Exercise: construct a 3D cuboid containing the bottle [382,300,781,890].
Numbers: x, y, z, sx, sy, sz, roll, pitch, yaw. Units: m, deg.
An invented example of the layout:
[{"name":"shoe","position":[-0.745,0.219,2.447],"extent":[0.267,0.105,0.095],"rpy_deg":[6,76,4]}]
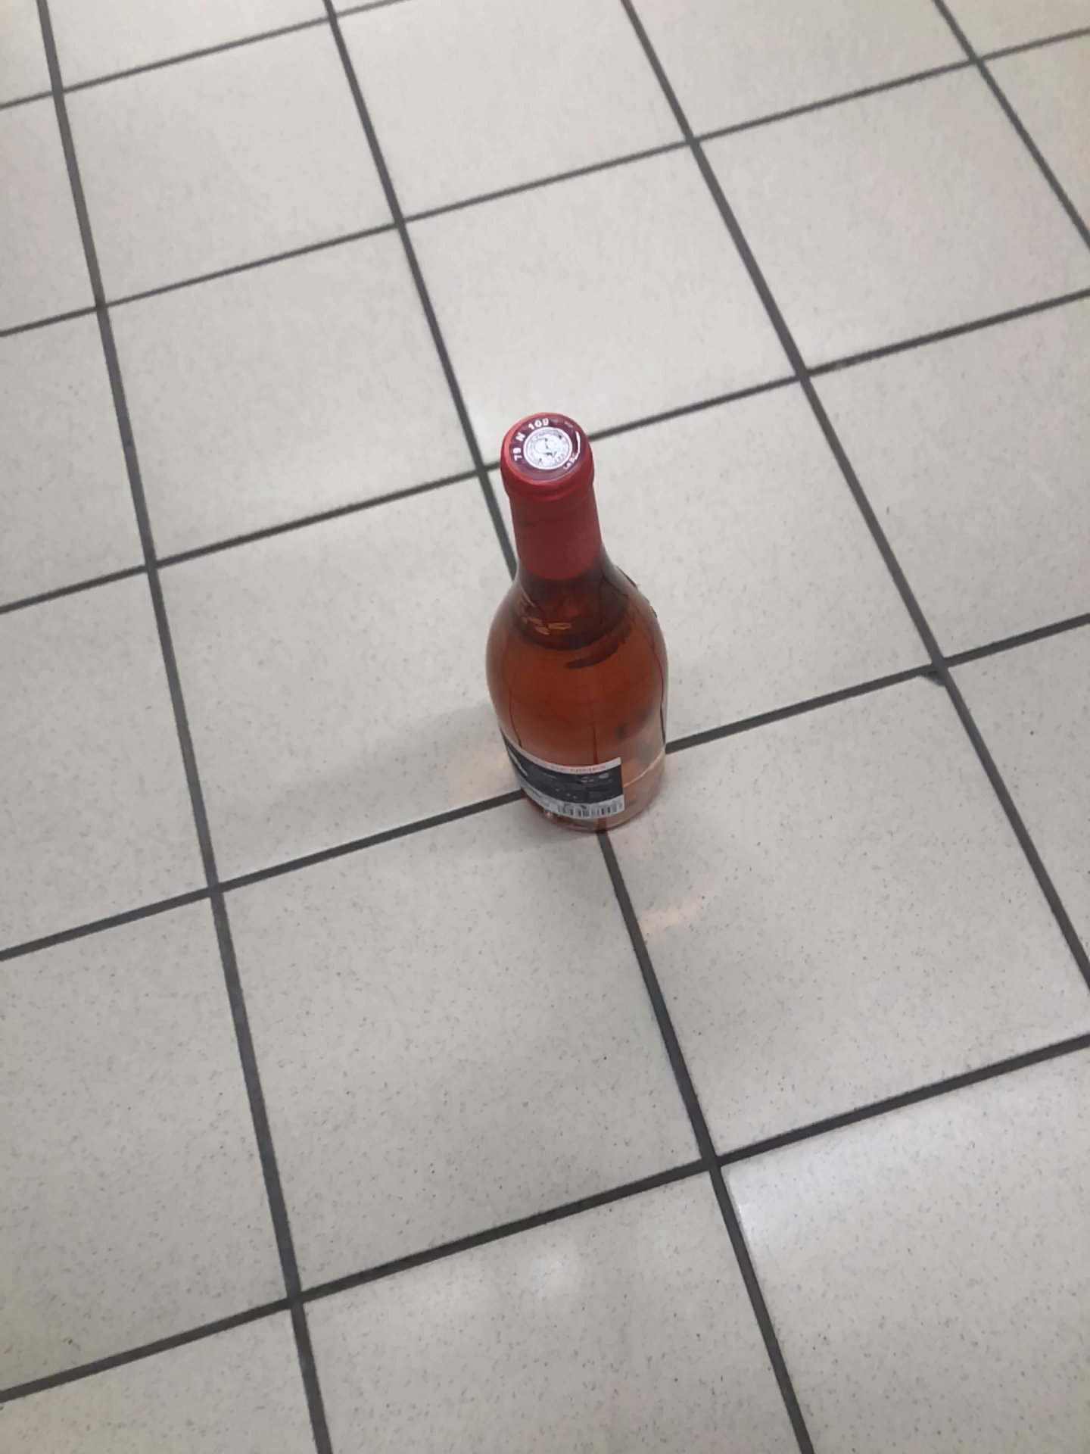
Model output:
[{"name":"bottle","position":[0.021,-0.028,0.488],"extent":[0.090,0.279,0.090],"rpy_deg":[-1,67,3]}]
